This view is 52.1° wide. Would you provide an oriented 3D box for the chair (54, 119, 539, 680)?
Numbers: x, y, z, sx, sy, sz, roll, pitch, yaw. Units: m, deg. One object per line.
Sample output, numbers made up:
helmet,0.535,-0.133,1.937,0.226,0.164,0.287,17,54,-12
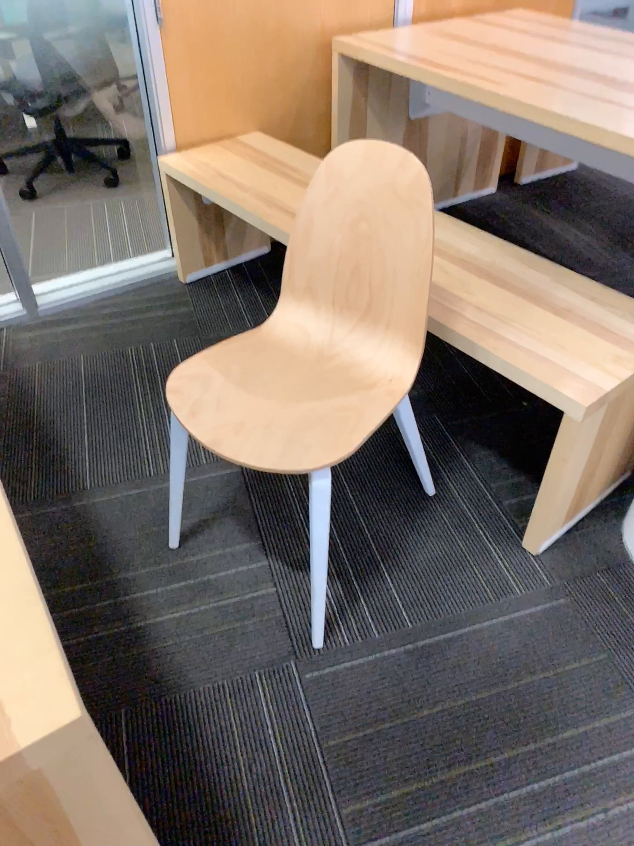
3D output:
chair,-0.010,-0.060,1.342,0.542,0.835,0.602,27,48,28
